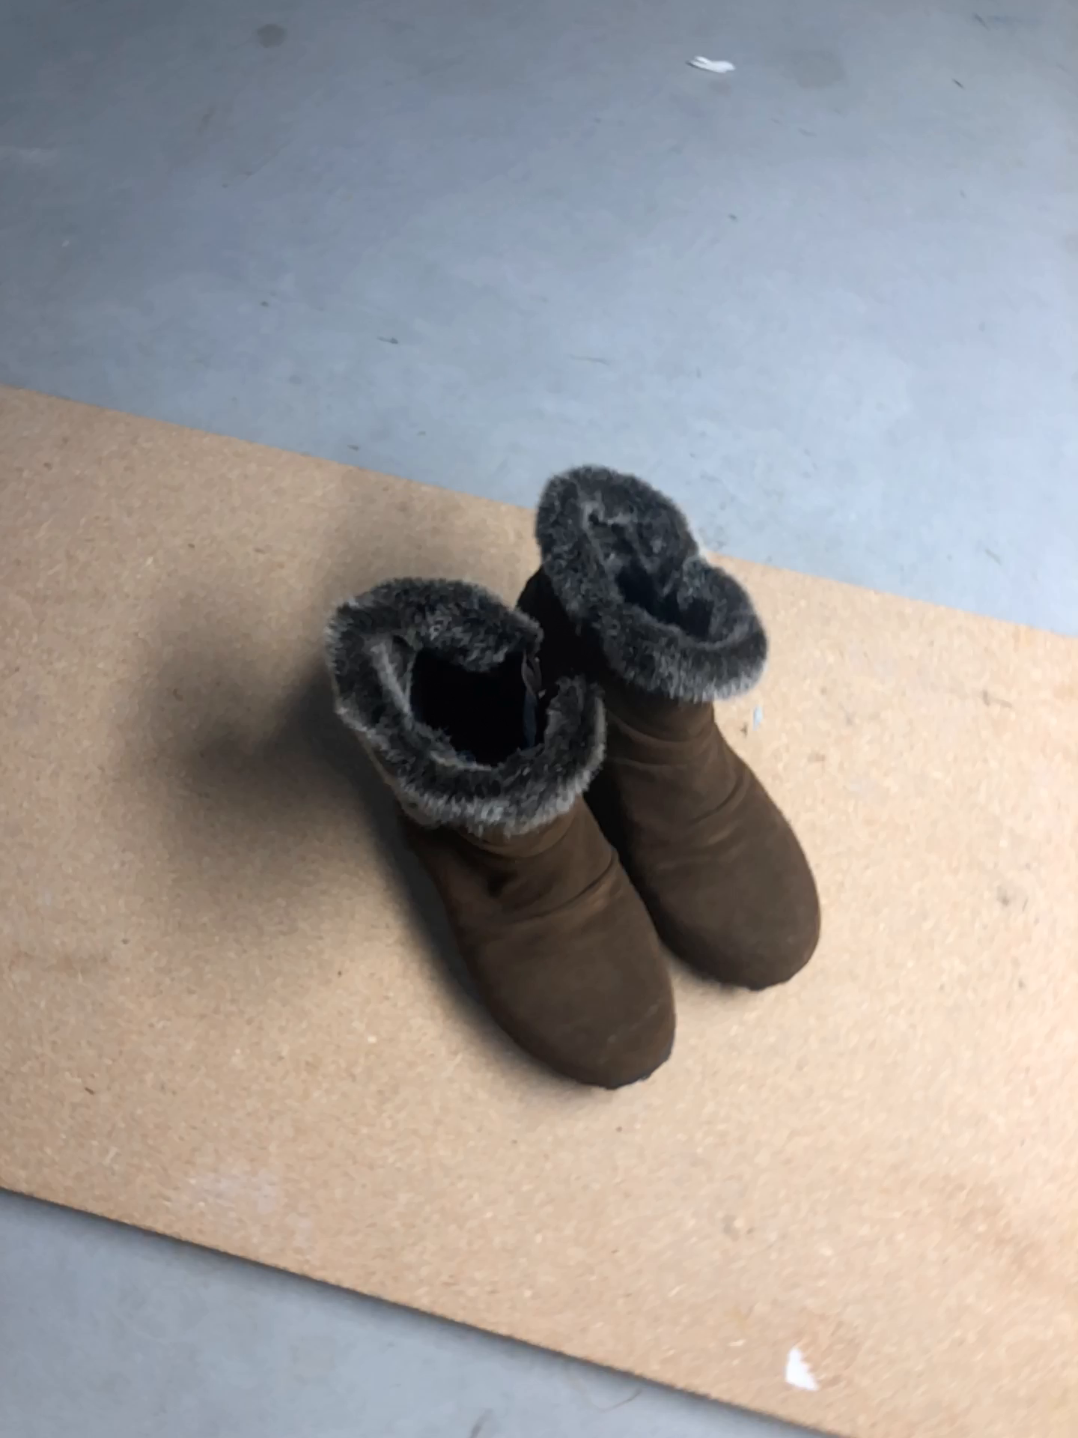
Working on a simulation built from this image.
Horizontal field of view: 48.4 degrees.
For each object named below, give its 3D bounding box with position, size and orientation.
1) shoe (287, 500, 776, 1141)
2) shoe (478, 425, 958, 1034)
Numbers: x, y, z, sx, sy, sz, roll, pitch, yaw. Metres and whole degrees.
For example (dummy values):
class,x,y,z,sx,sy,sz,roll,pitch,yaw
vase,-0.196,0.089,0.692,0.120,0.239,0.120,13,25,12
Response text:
class,x,y,z,sx,sy,sz,roll,pitch,yaw
shoe,-0.015,0.063,0.619,0.100,0.220,0.250,-27,68,-15
shoe,0.074,0.013,0.662,0.100,0.200,0.260,-27,68,-15
